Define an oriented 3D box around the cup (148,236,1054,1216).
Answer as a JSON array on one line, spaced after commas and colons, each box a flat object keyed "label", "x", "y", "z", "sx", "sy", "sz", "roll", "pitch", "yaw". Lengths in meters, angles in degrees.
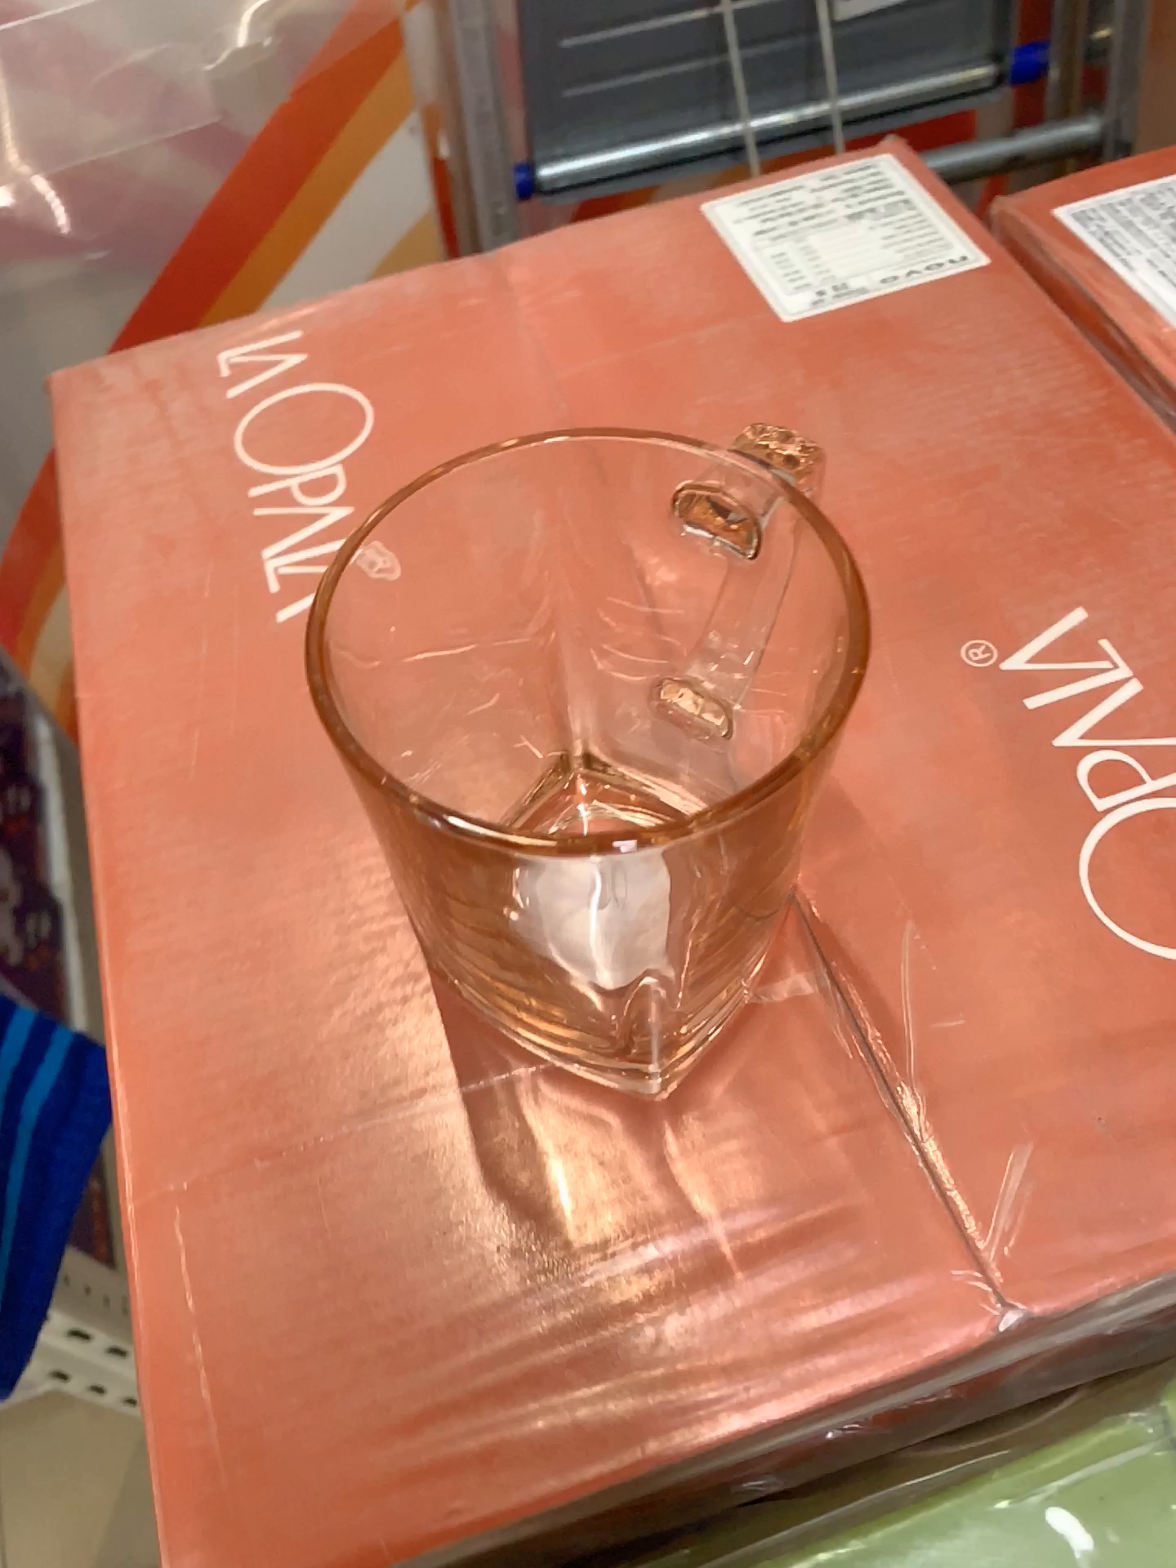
[{"label": "cup", "x": 0.009, "y": -0.007, "z": 0.208, "sx": 0.080, "sy": 0.110, "sz": 0.100, "roll": 27, "pitch": 62, "yaw": 22}]
